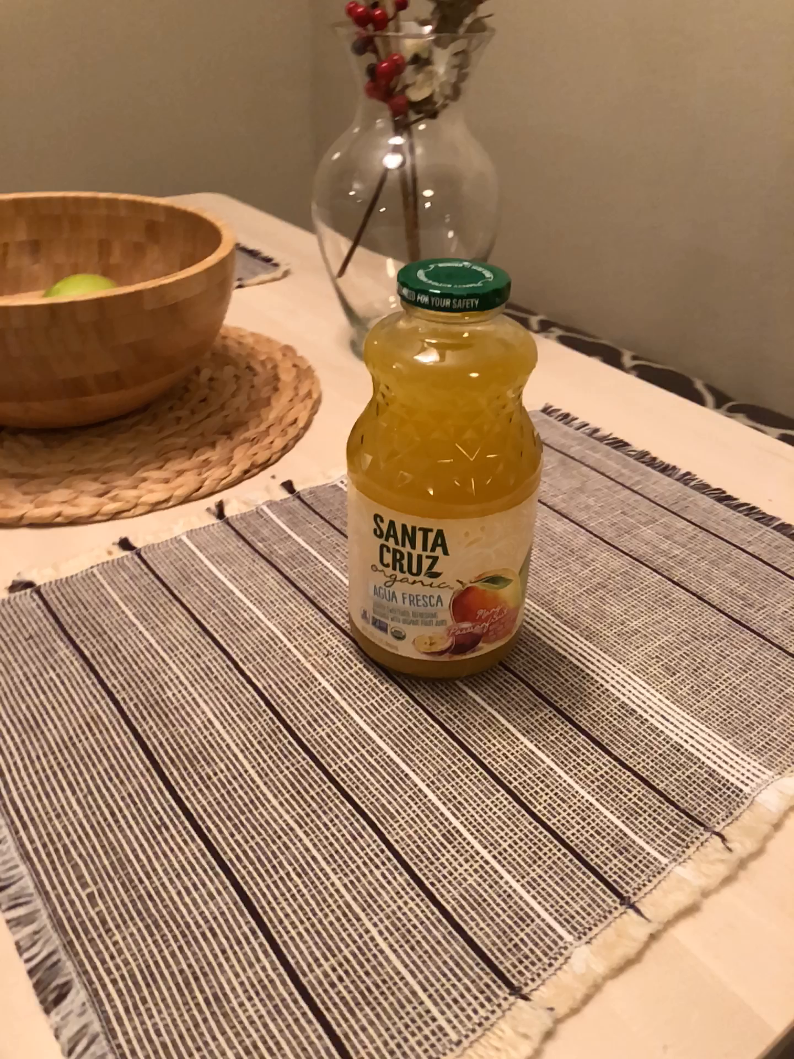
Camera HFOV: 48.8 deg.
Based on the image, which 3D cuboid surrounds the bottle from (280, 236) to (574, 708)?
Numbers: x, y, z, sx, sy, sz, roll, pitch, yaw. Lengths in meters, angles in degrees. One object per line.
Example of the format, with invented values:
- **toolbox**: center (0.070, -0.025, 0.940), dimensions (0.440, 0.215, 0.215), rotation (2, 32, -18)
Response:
- **bottle**: center (0.015, -0.029, 0.426), dimensions (0.100, 0.189, 0.101), rotation (1, 33, -1)
